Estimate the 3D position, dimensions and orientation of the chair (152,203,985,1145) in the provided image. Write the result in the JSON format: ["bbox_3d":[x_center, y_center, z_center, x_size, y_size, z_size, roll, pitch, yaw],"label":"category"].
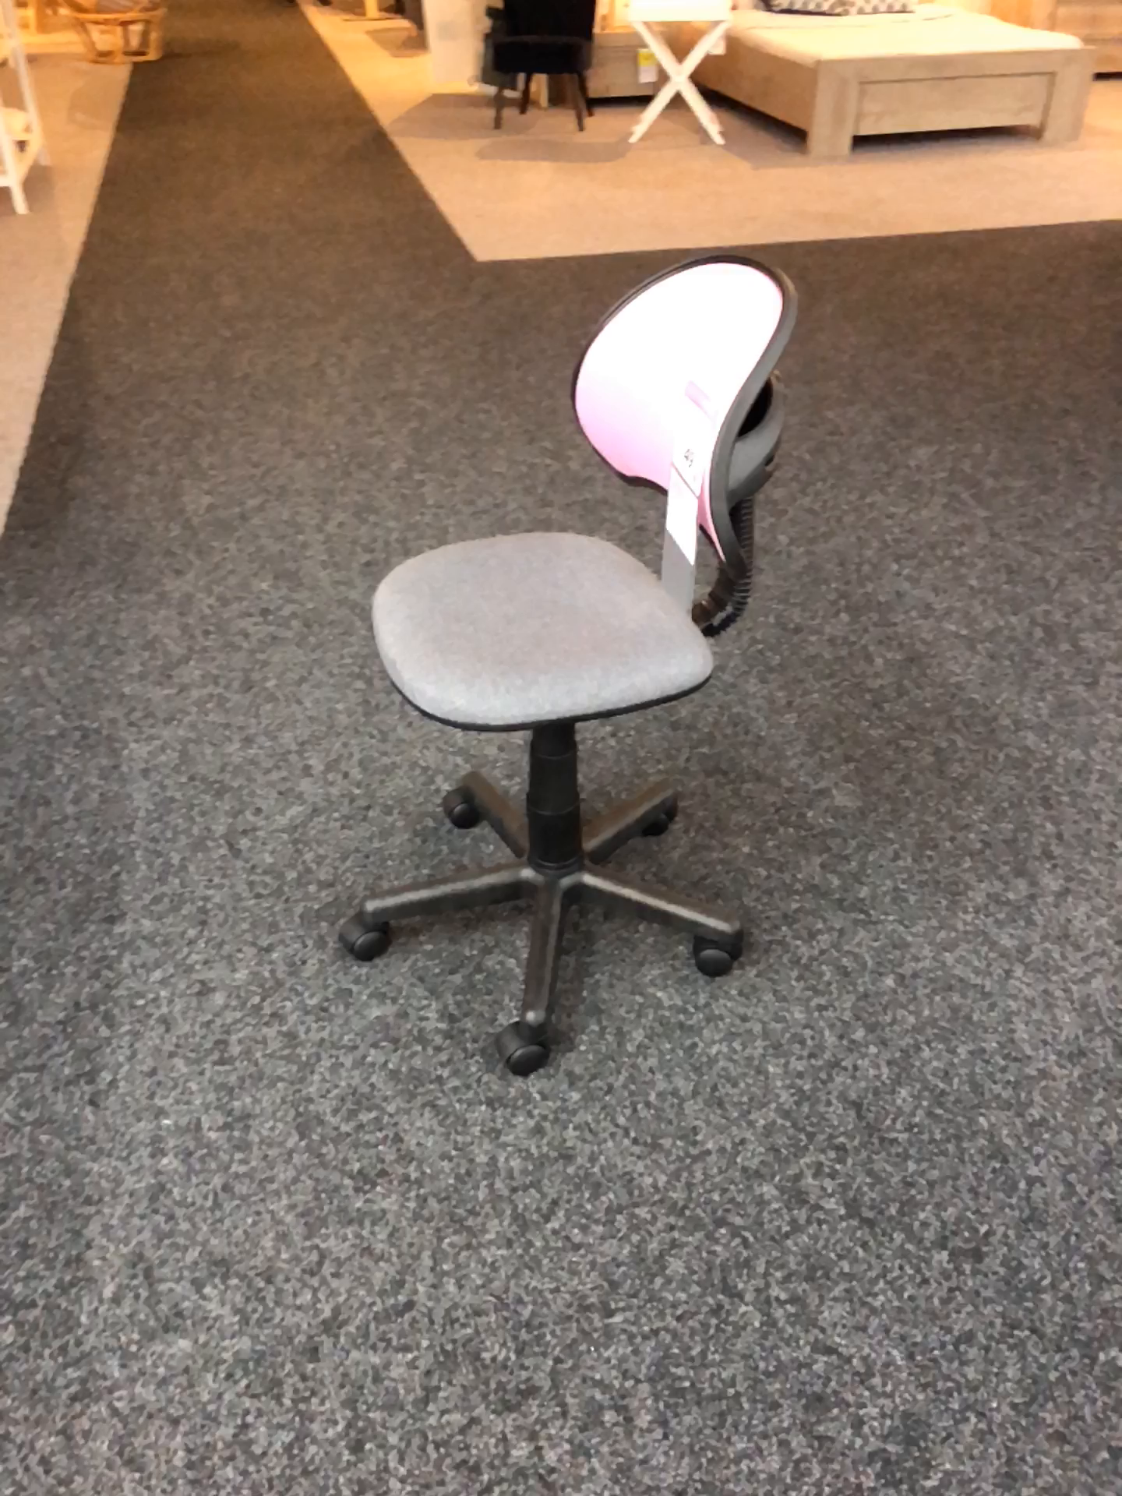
[{"bbox_3d":[-0.025,-0.133,1.420,0.602,0.775,0.602,-17,38,-24],"label":"chair"}]
